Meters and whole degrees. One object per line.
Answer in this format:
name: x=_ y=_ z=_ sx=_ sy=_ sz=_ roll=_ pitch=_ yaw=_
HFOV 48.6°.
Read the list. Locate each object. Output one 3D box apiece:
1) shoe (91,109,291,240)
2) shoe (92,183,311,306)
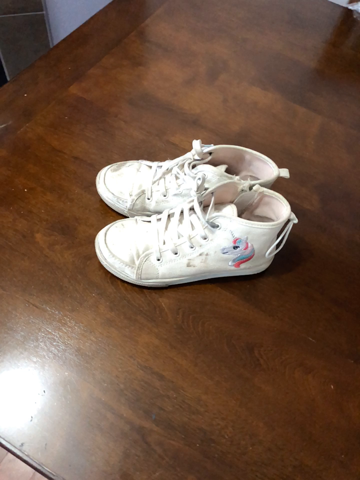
shoe: x=0.012 y=-0.079 z=0.499 sx=0.220 sy=0.100 sz=0.090 roll=8 pitch=59 yaw=-2
shoe: x=0.016 y=0.005 z=0.461 sx=0.220 sy=0.100 sz=0.090 roll=-4 pitch=60 yaw=-9
